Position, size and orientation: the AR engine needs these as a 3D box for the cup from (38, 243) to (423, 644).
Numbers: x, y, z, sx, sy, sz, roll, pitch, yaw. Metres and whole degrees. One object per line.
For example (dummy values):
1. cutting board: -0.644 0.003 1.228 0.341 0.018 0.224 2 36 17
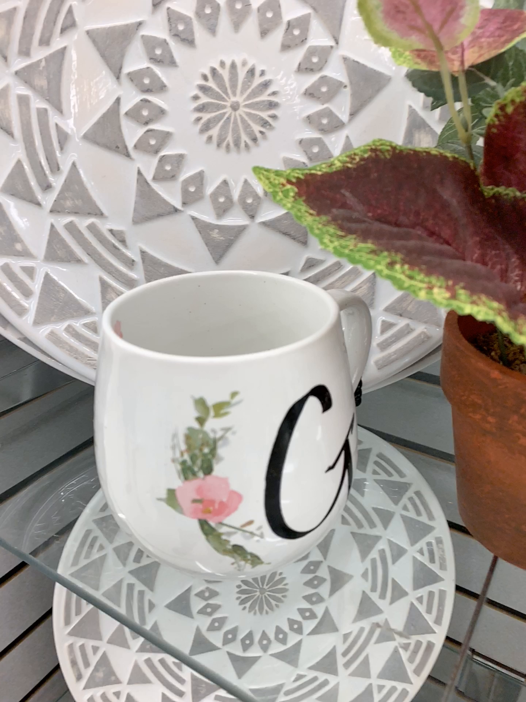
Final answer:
1. cup: -0.011 0.020 0.208 0.100 0.090 0.089 -22 33 -39
